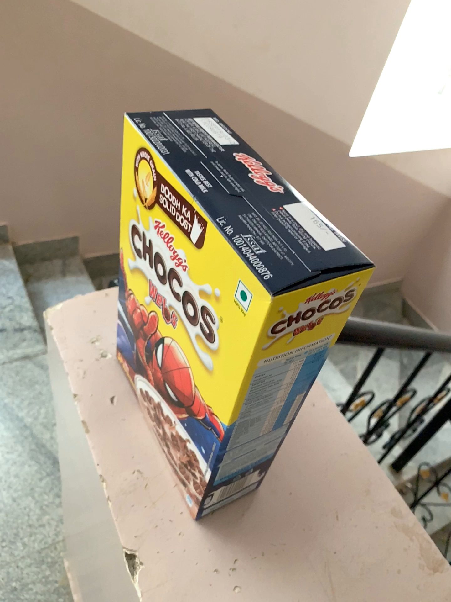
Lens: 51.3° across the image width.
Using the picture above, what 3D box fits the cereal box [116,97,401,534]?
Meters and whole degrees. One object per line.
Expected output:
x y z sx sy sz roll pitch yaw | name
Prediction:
-0.014 0.016 0.343 0.070 0.248 0.191 -13 49 -26 | cereal box
